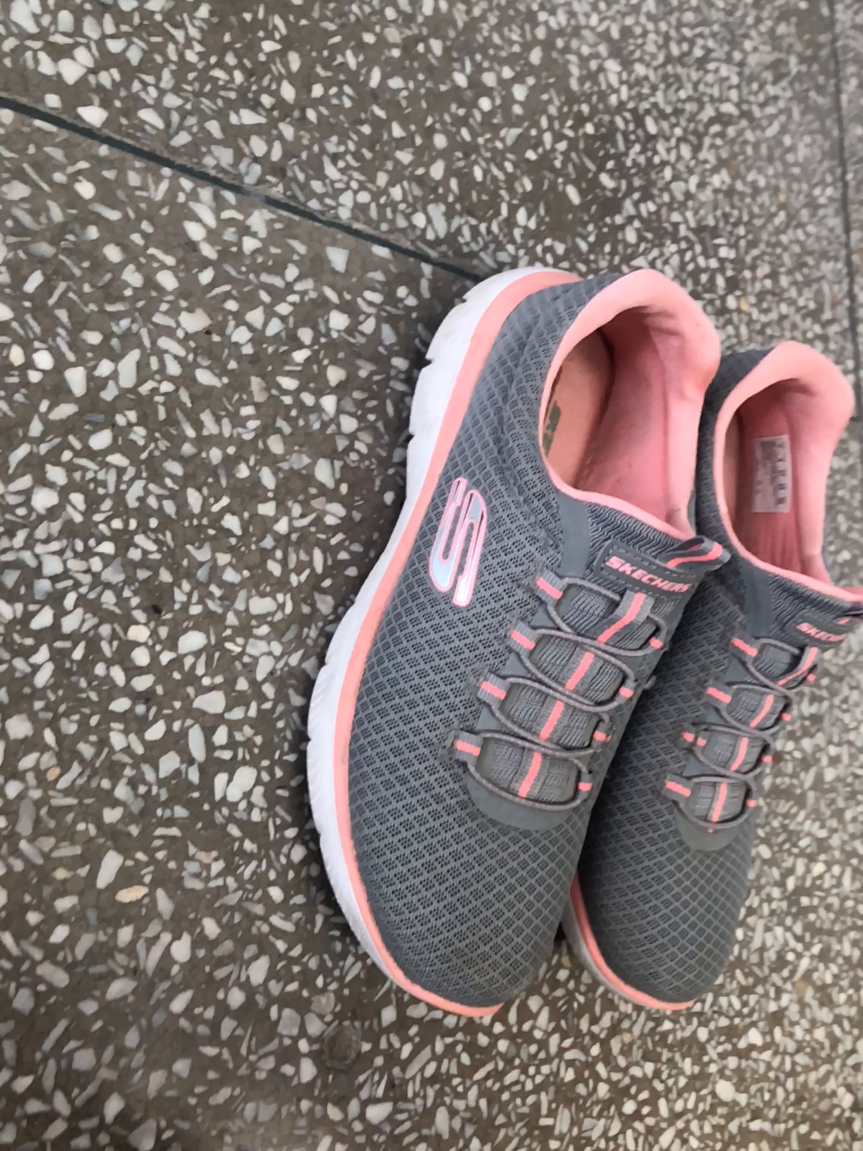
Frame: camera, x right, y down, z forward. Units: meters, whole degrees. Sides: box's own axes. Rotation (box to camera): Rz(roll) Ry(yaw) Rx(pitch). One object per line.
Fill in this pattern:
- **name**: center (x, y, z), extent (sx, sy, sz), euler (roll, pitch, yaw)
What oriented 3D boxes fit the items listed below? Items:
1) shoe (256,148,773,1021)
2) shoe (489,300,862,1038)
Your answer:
- **shoe**: center (0.029, 0.006, 0.323), extent (0.090, 0.100, 0.240), euler (18, 77, -31)
- **shoe**: center (0.107, 0.035, 0.361), extent (0.090, 0.100, 0.230), euler (18, 77, -31)
